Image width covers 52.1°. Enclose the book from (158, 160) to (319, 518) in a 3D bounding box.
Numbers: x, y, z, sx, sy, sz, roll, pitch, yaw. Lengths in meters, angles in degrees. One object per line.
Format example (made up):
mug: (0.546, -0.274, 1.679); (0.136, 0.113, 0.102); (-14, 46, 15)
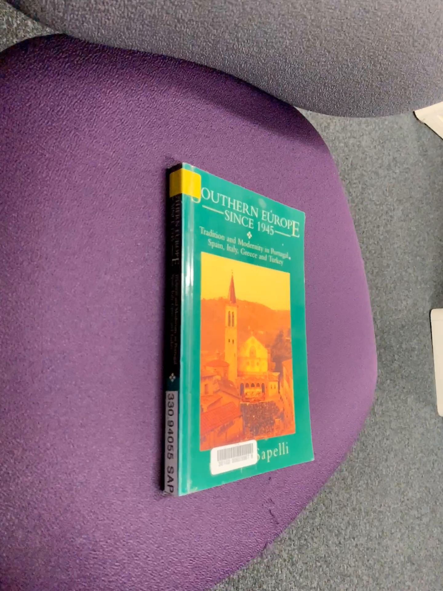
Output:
book: (0.021, 0.029, 0.344); (0.154, 0.020, 0.221); (8, 79, -46)
